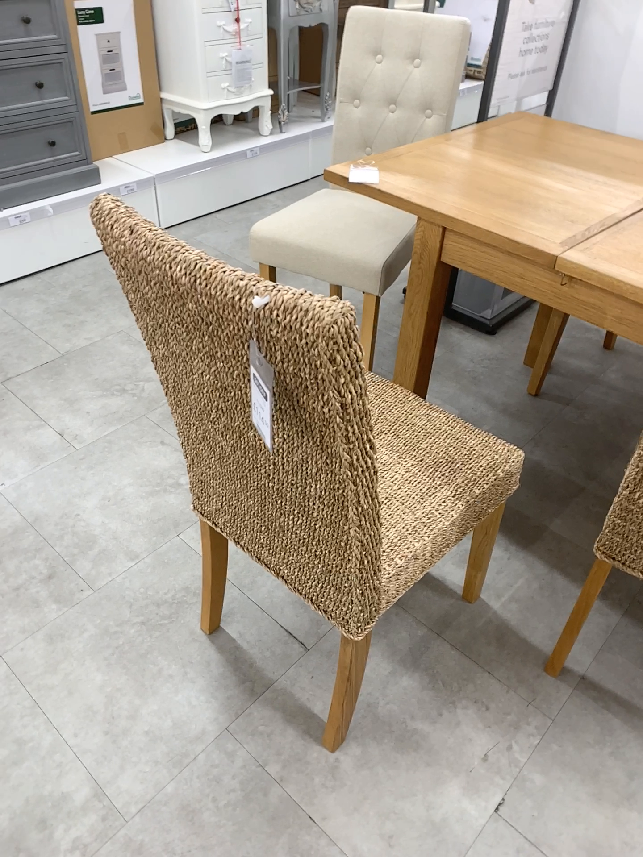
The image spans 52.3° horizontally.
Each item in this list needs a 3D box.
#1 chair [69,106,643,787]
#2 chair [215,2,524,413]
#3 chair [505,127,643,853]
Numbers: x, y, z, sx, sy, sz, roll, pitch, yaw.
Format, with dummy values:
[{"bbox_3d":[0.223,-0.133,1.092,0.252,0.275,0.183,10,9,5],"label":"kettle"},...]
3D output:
[{"bbox_3d":[0.059,0.012,1.097,0.507,0.840,0.577,32,48,31],"label":"chair"},{"bbox_3d":[0.135,-0.634,1.817,0.426,0.840,0.729,24,44,25],"label":"chair"},{"bbox_3d":[0.746,0.085,1.056,0.526,0.869,0.568,26,45,26],"label":"chair"}]
